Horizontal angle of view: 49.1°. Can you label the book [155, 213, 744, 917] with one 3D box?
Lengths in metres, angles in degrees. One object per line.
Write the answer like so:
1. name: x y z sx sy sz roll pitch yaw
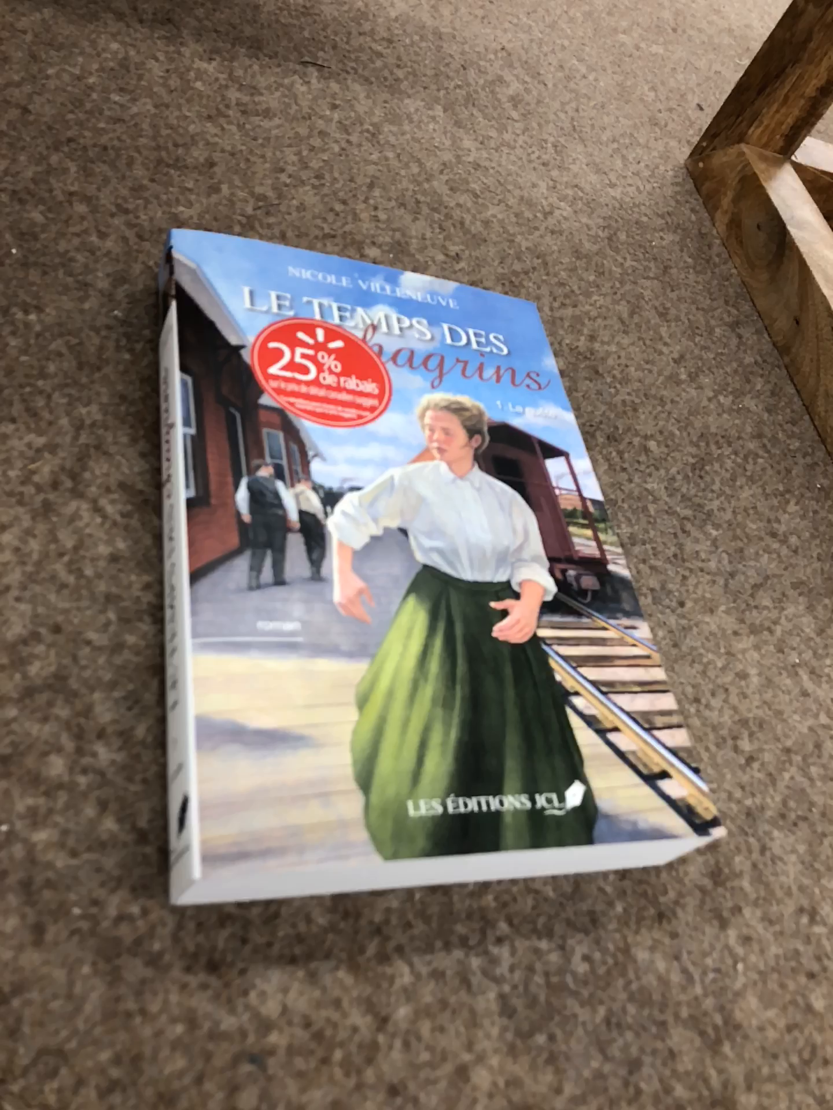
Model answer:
1. book: -0.002 -0.010 0.297 0.155 0.030 0.225 4 55 -23
